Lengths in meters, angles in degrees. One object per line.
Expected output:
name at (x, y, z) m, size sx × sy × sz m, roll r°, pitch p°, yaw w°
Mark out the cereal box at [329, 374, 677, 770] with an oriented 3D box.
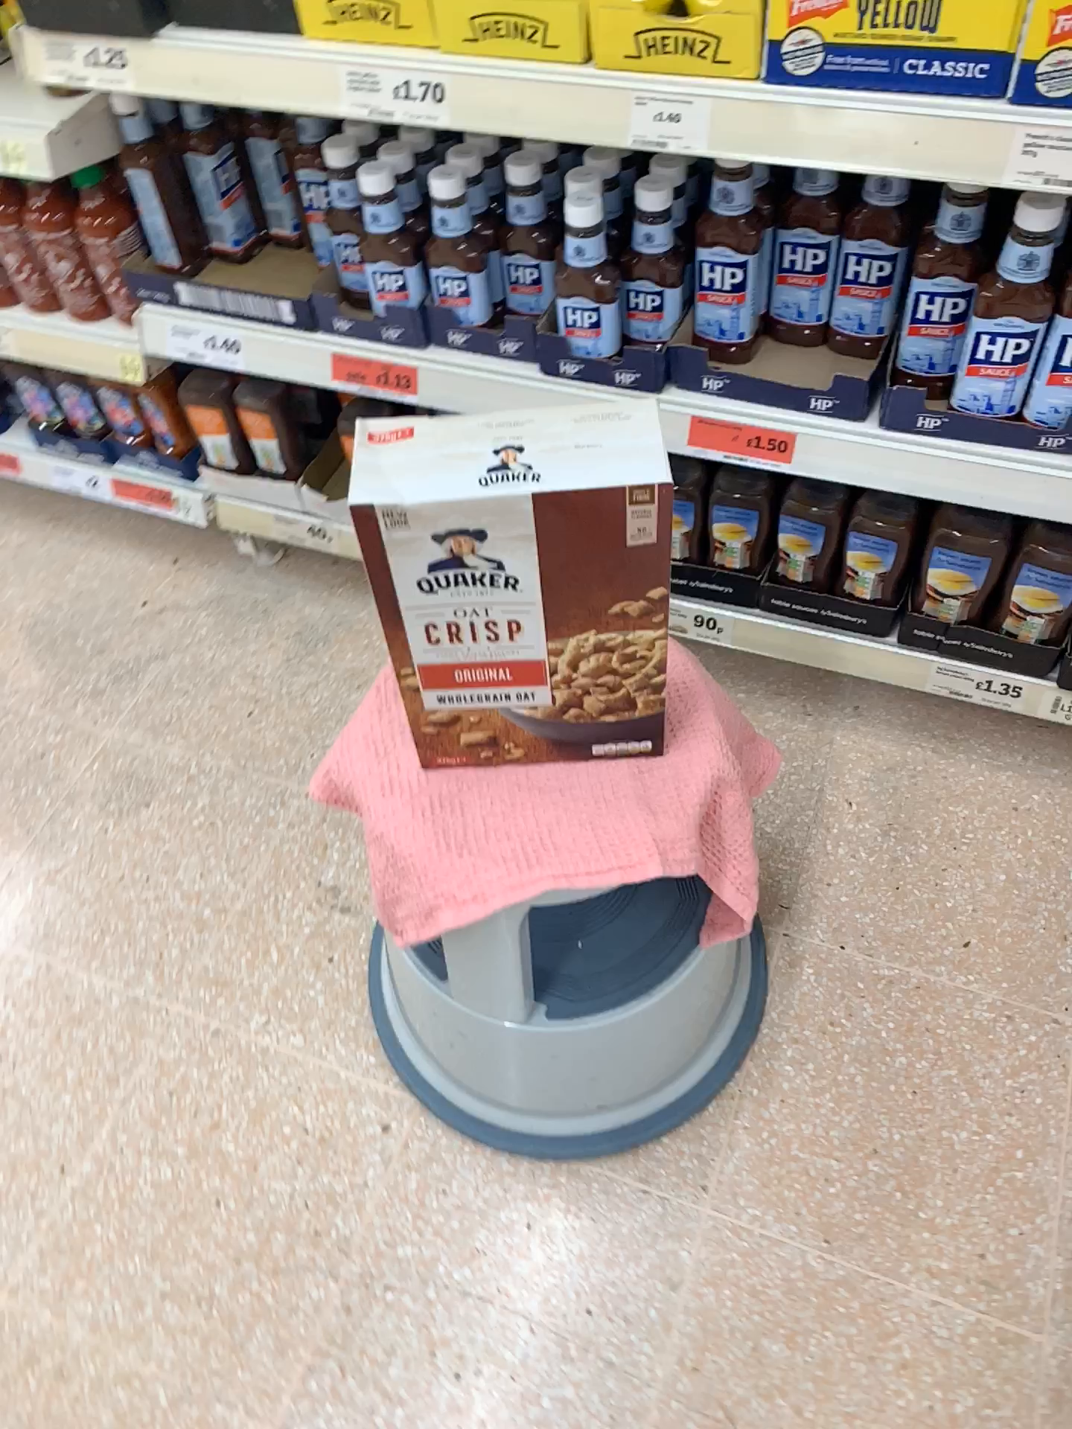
cereal box at (-0.009, -0.079, 0.727) m, size 0.190 × 0.268 × 0.091 m, roll -4°, pitch 54°, yaw 3°
